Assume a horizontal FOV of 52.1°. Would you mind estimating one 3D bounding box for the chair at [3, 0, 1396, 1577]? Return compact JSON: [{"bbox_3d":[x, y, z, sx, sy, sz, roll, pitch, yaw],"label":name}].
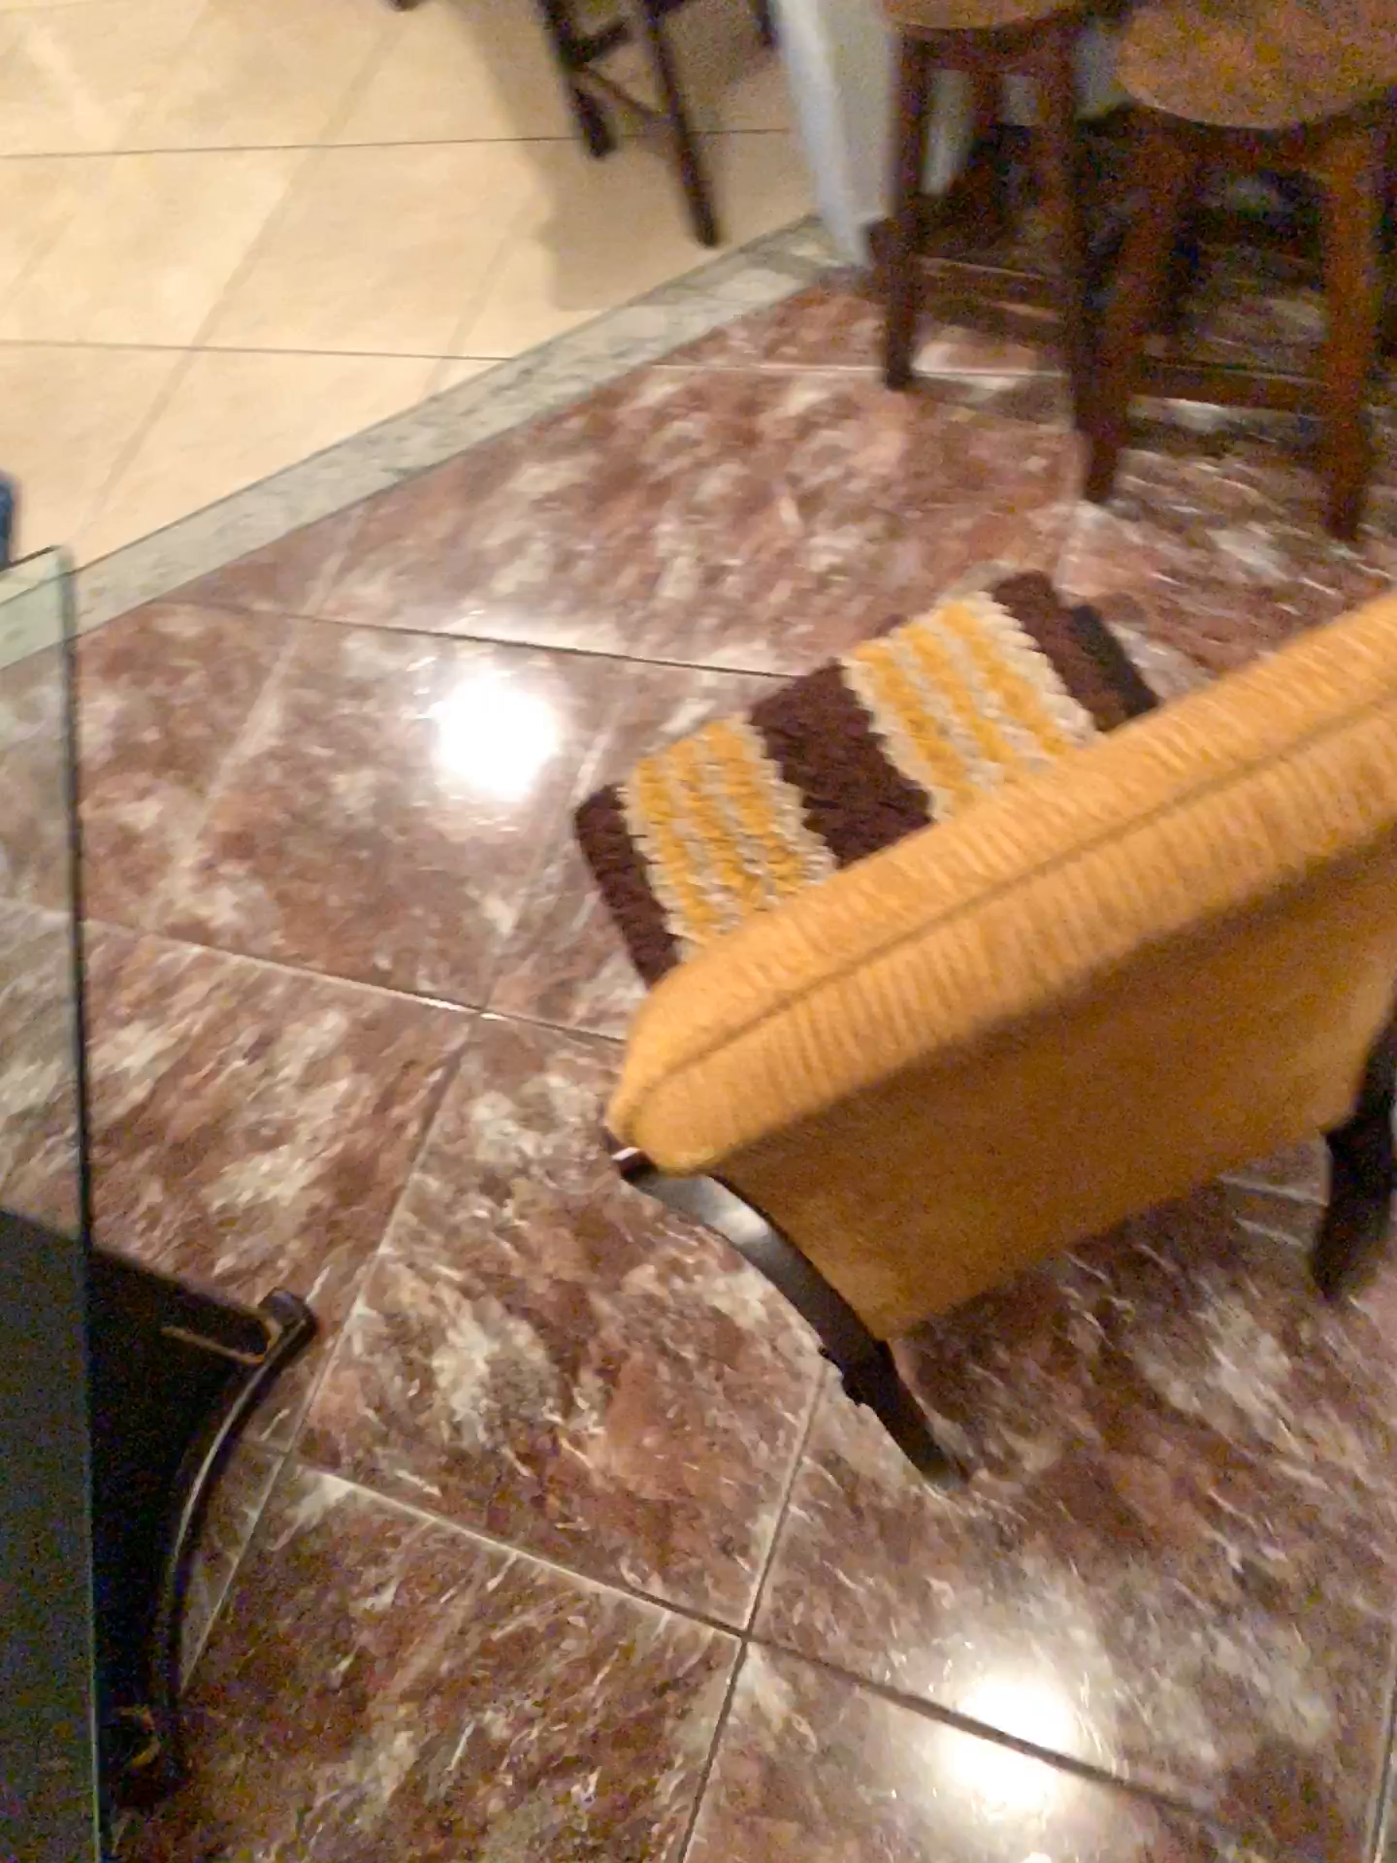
[{"bbox_3d":[0.139,-0.036,0.939,0.560,0.937,0.602,-27,58,2],"label":"chair"}]
